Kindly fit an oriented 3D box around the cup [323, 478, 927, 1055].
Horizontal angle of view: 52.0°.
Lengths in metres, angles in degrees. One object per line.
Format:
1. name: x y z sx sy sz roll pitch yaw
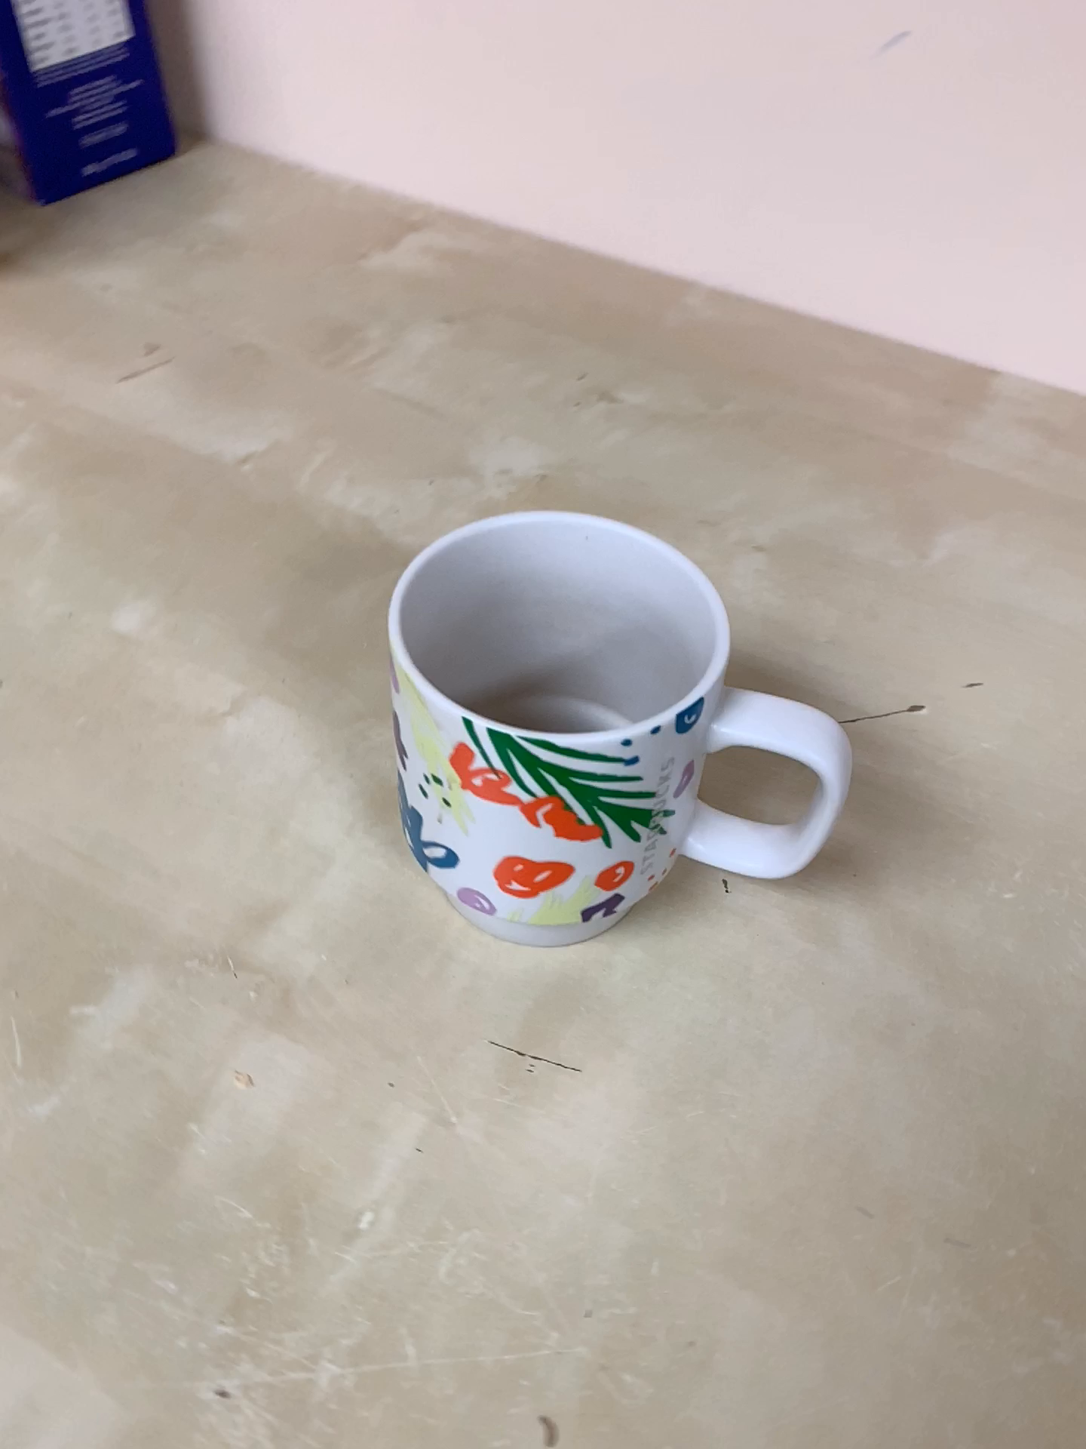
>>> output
1. cup: 0.021 0.010 0.304 0.127 0.095 0.082 17 49 11
